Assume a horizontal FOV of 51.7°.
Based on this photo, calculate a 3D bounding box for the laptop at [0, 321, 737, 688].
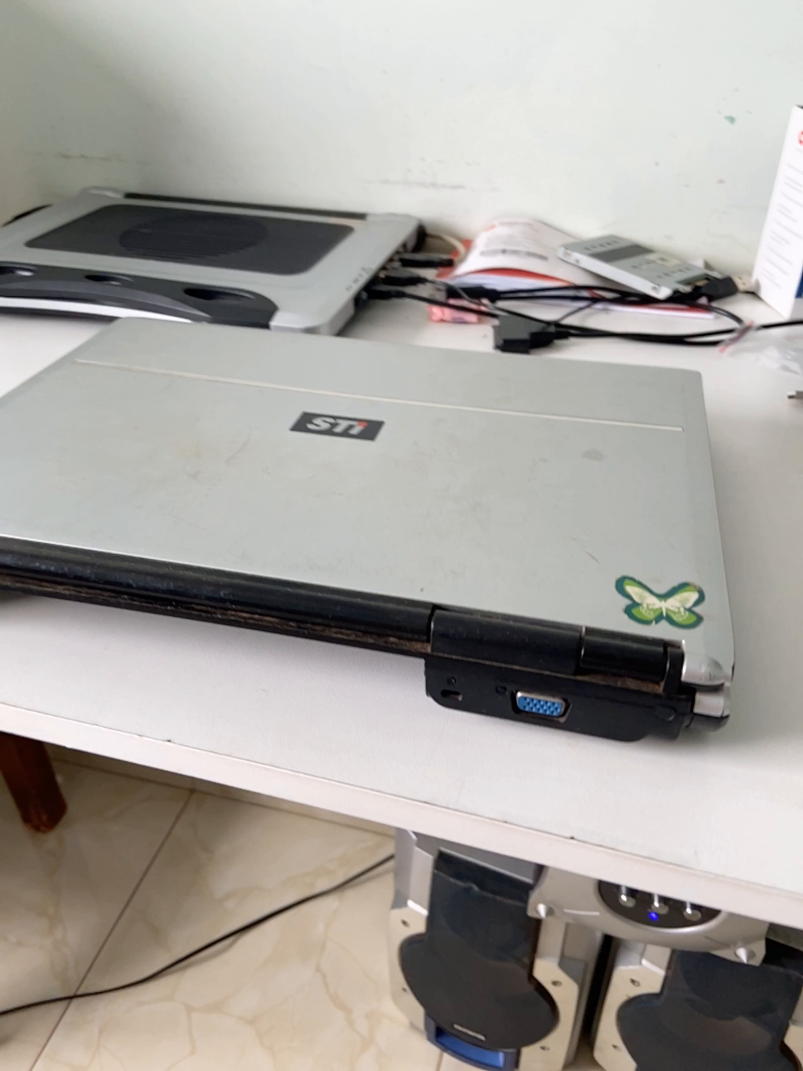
[{"bbox_3d":[-0.035,-0.043,0.384,0.338,0.004,0.236,8,35,12],"label":"laptop"}]
